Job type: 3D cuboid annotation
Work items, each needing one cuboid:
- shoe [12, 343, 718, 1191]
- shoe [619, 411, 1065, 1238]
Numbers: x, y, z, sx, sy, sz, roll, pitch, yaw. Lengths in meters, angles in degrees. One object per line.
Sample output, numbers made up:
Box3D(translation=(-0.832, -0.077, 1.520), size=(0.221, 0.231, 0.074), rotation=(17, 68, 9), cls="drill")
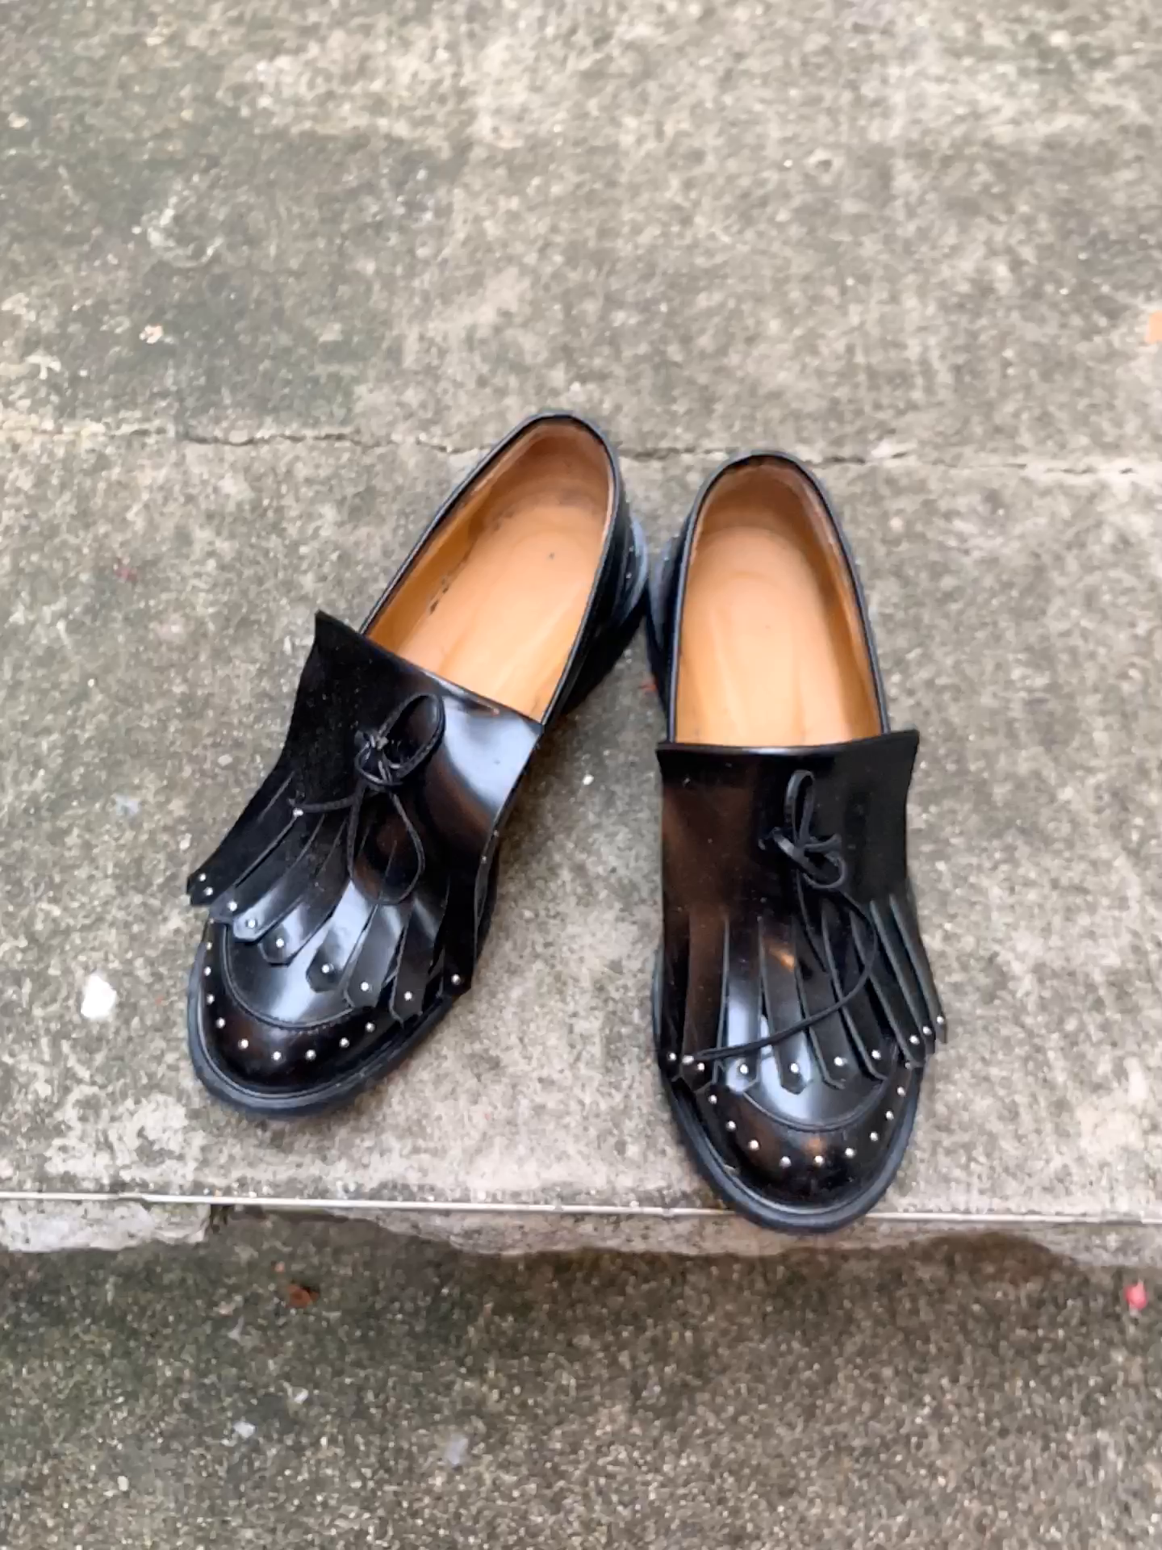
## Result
Box3D(translation=(-0.051, -0.010, 0.383), size=(0.093, 0.081, 0.246), rotation=(23, 66, 11), cls="shoe")
Box3D(translation=(0.066, 0.010, 0.380), size=(0.093, 0.081, 0.249), rotation=(0, 64, -3), cls="shoe")
